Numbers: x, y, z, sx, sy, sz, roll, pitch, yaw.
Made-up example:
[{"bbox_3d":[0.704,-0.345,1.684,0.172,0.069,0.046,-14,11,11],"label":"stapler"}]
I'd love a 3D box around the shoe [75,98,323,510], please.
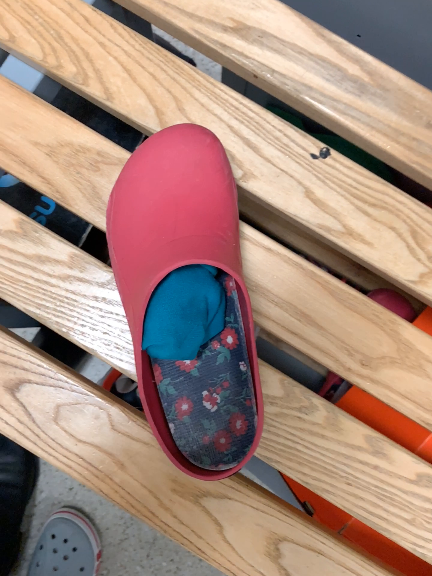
[{"bbox_3d":[-0.013,0.008,0.314,0.106,0.077,0.238,-12,85,-2],"label":"shoe"}]
